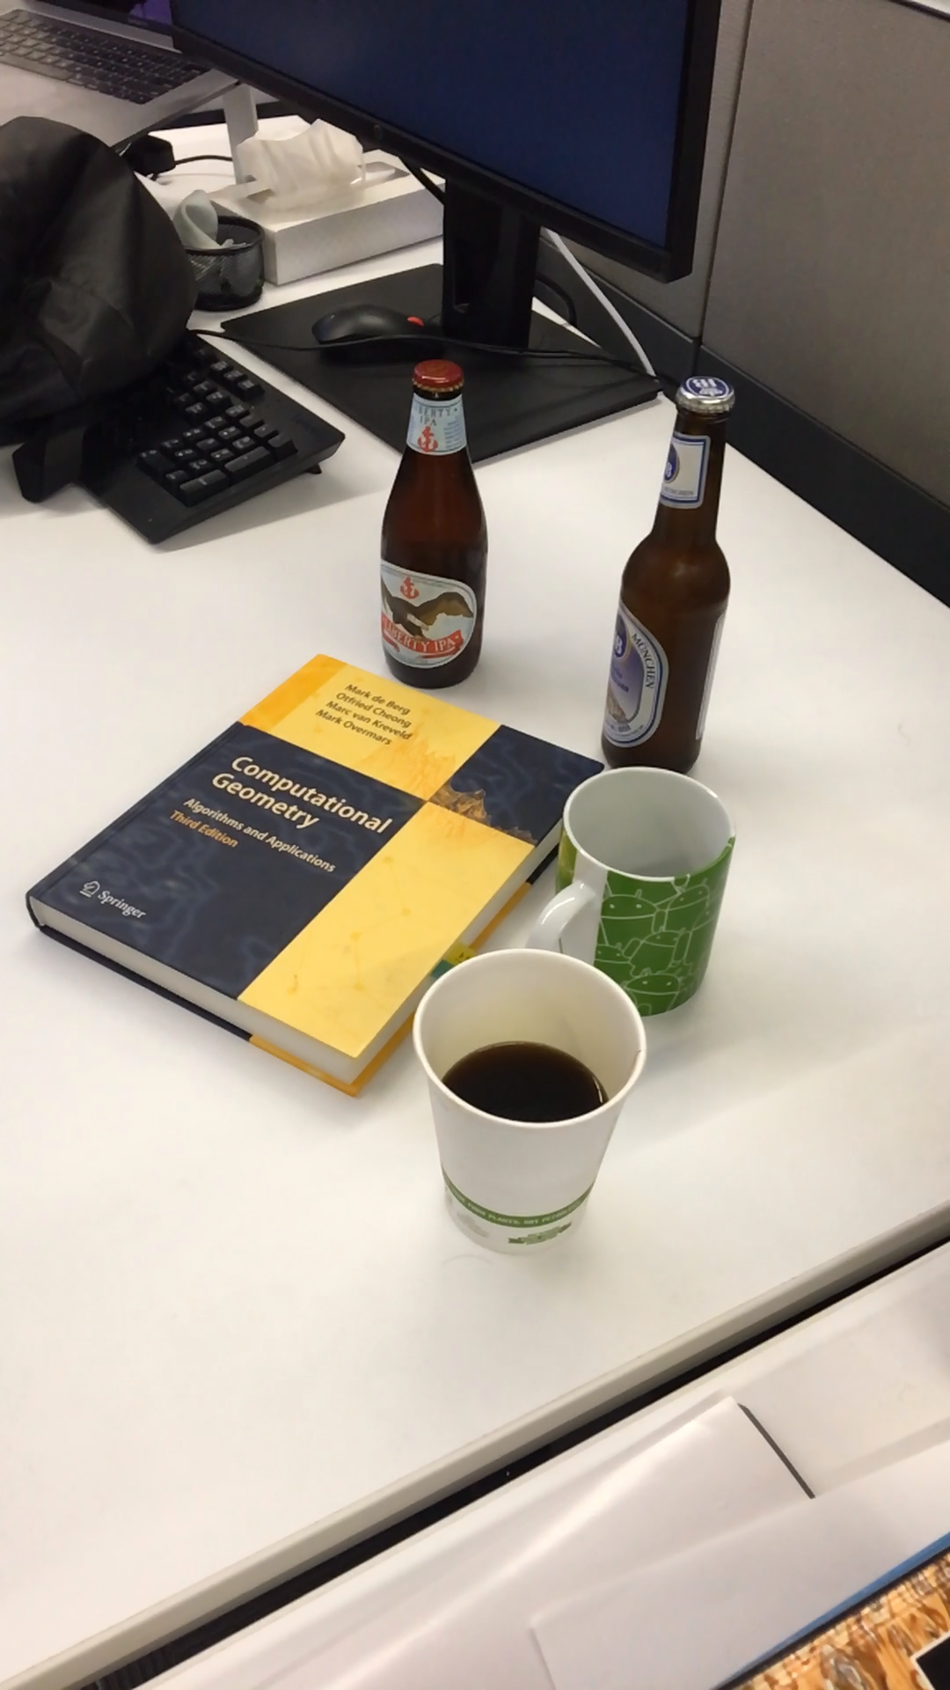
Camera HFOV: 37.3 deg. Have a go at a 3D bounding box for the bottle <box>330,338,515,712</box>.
[{"bbox_3d":[-0.029,-0.175,0.784,0.070,0.180,0.070,1,43,-1],"label":"bottle"}]

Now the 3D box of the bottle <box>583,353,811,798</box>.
[{"bbox_3d":[0.107,-0.131,0.723,0.070,0.220,0.060,-9,44,-12],"label":"bottle"}]
